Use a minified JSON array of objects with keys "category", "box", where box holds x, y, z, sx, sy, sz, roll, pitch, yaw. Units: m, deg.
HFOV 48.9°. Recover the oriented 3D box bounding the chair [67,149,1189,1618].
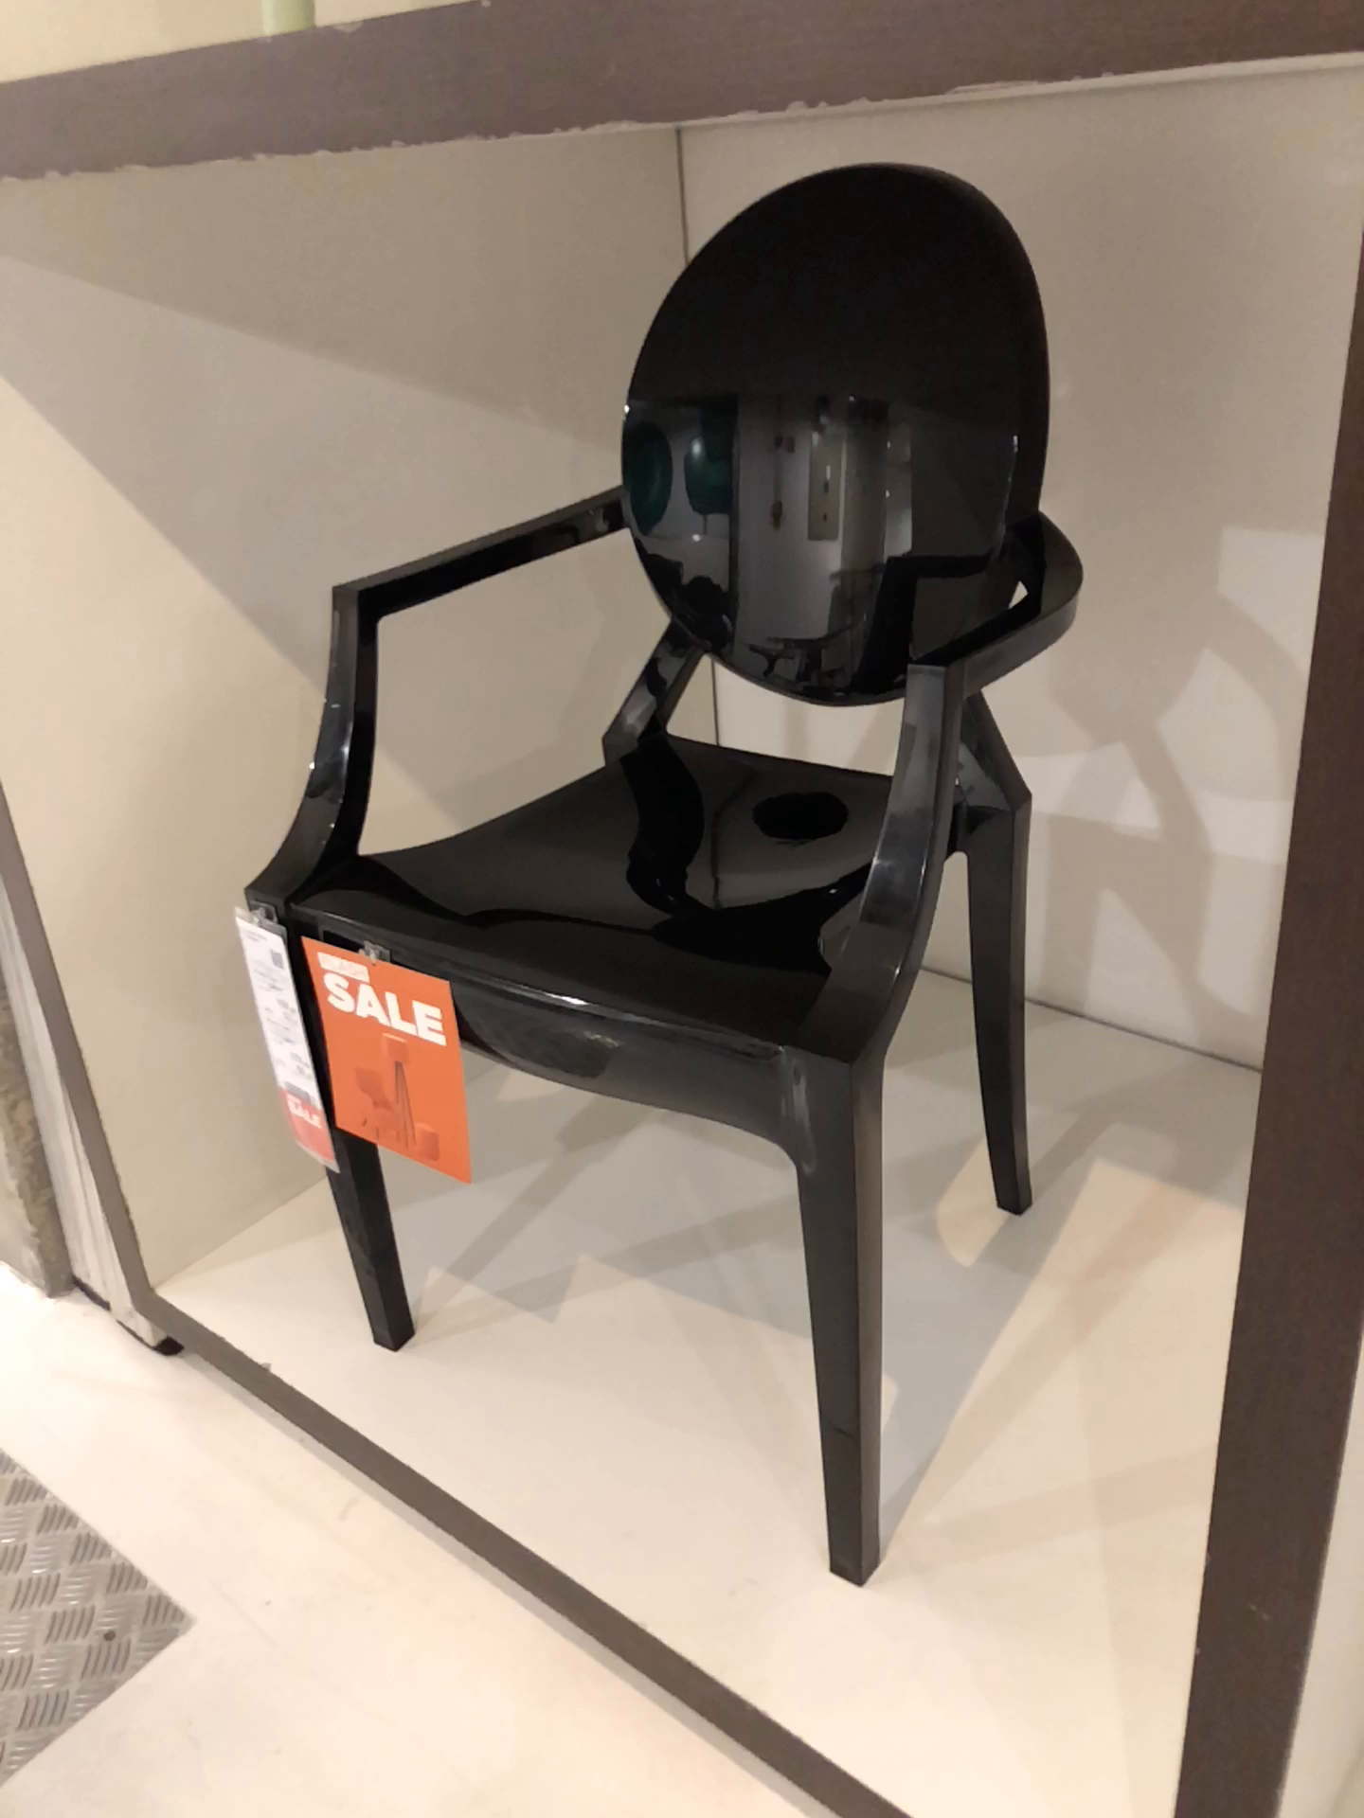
[{"category":"chair","box":[0.016,-0.061,1.126,0.511,0.854,0.493,14,32,33]}]
